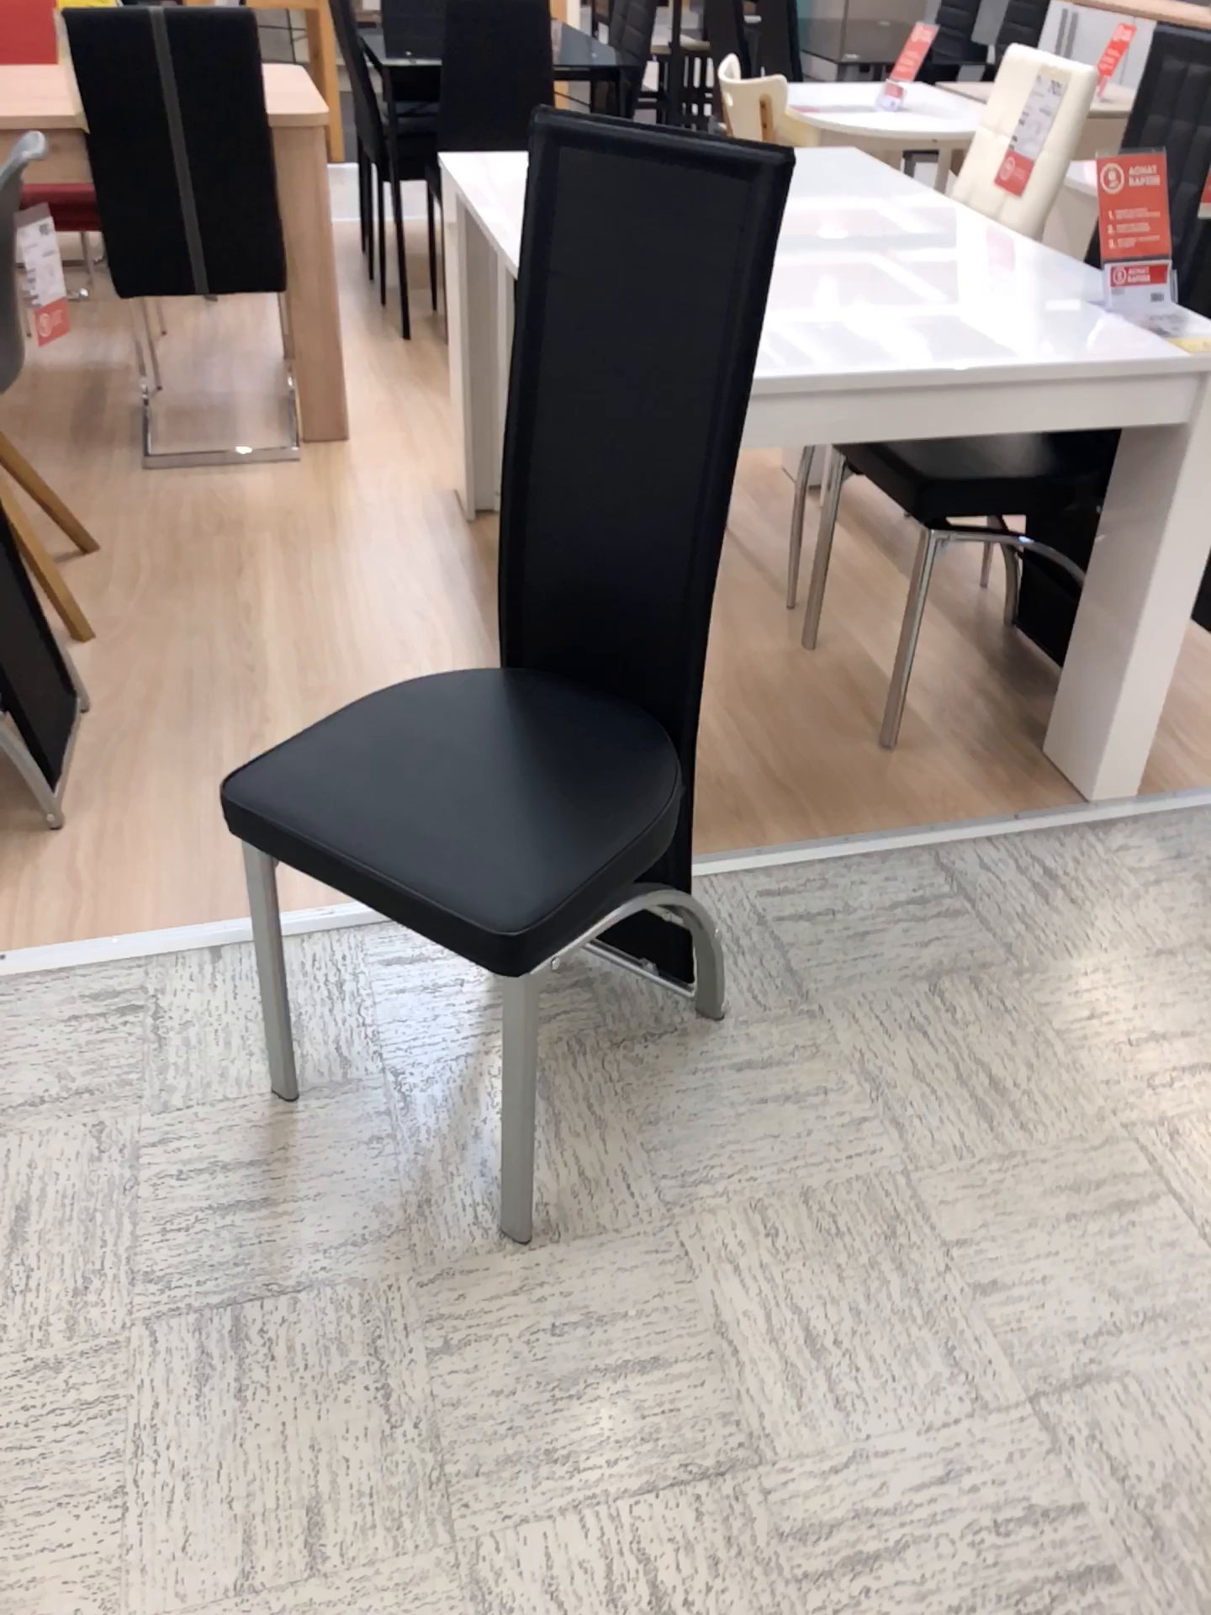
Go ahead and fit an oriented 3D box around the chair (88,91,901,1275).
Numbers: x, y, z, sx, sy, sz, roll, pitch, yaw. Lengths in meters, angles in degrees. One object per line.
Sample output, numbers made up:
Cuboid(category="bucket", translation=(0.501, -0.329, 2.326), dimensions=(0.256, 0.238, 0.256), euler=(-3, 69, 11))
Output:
Cuboid(category="chair", translation=(-0.083, -0.120, 1.367), dimensions=(0.450, 1.013, 0.493), euler=(23, 40, 27))
